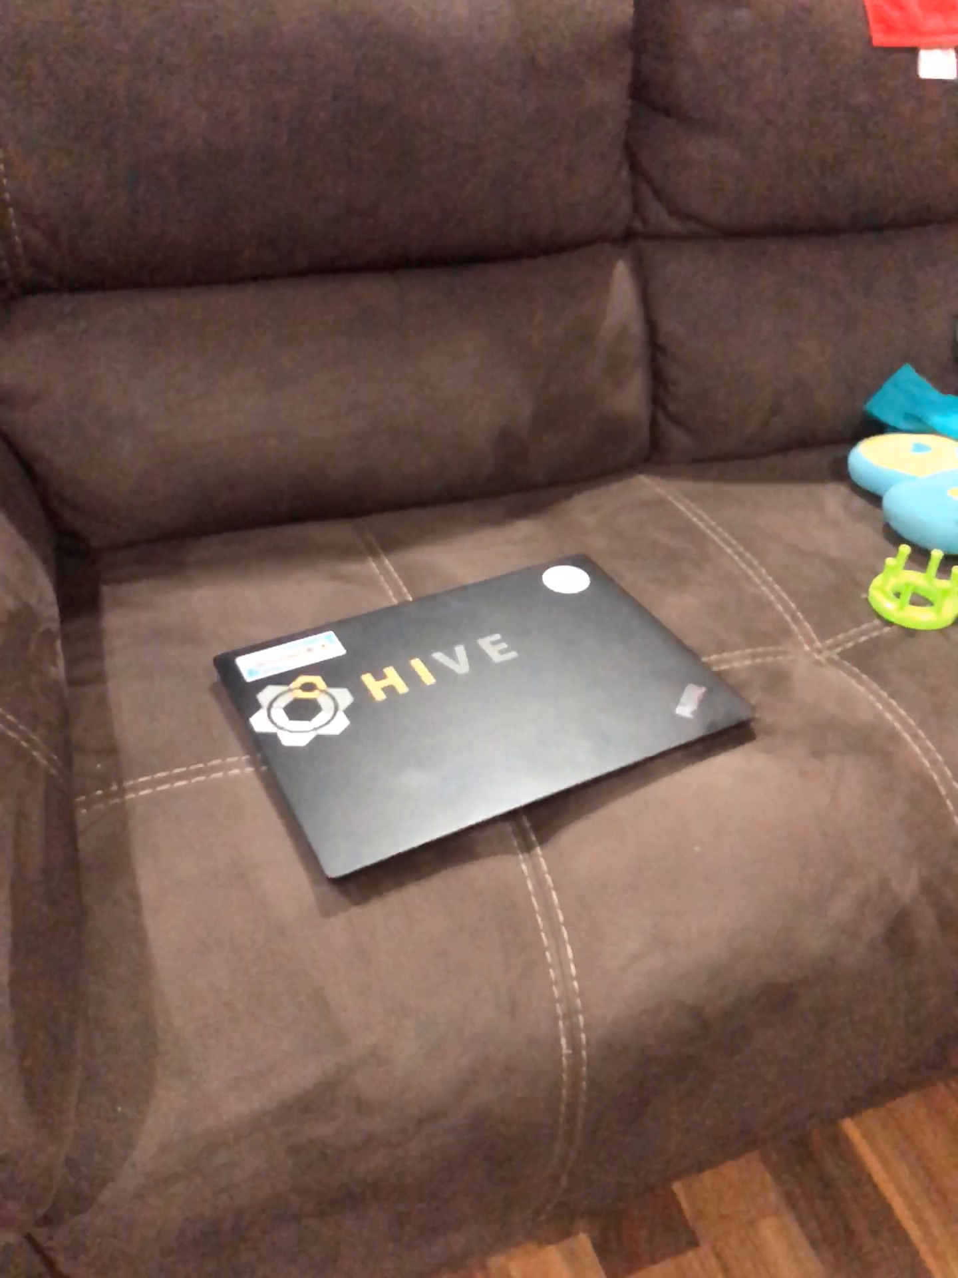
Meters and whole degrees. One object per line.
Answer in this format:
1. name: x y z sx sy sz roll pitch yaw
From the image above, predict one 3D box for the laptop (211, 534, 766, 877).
1. laptop: 0.000 0.026 0.773 0.329 0.019 0.236 -17 41 -21
